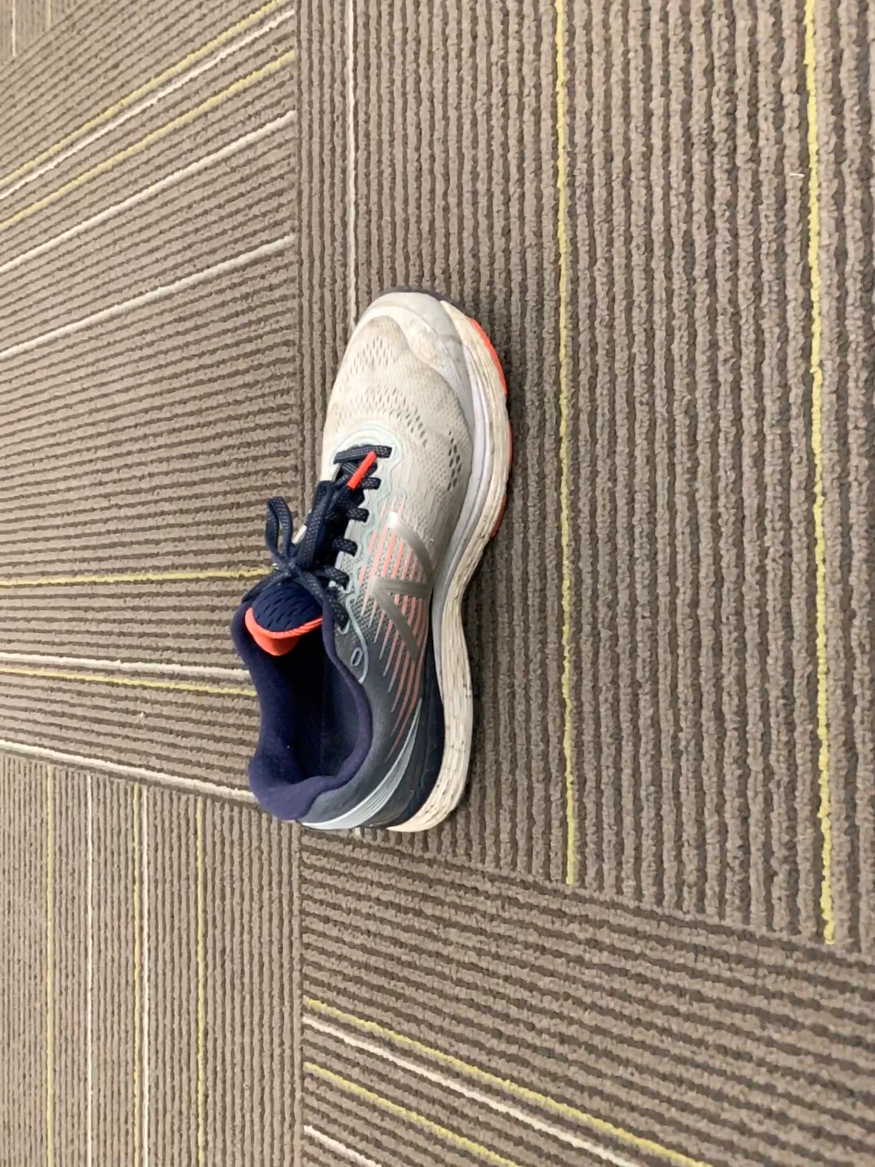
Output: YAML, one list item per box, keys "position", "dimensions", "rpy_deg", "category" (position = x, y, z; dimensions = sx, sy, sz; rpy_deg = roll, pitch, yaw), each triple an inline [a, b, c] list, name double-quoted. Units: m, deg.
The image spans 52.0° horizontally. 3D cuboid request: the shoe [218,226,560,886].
- position: [-0.029, -0.015, 0.465]
  dimensions: [0.131, 0.079, 0.290]
  rpy_deg: [9, 95, 40]
  category: "shoe"
